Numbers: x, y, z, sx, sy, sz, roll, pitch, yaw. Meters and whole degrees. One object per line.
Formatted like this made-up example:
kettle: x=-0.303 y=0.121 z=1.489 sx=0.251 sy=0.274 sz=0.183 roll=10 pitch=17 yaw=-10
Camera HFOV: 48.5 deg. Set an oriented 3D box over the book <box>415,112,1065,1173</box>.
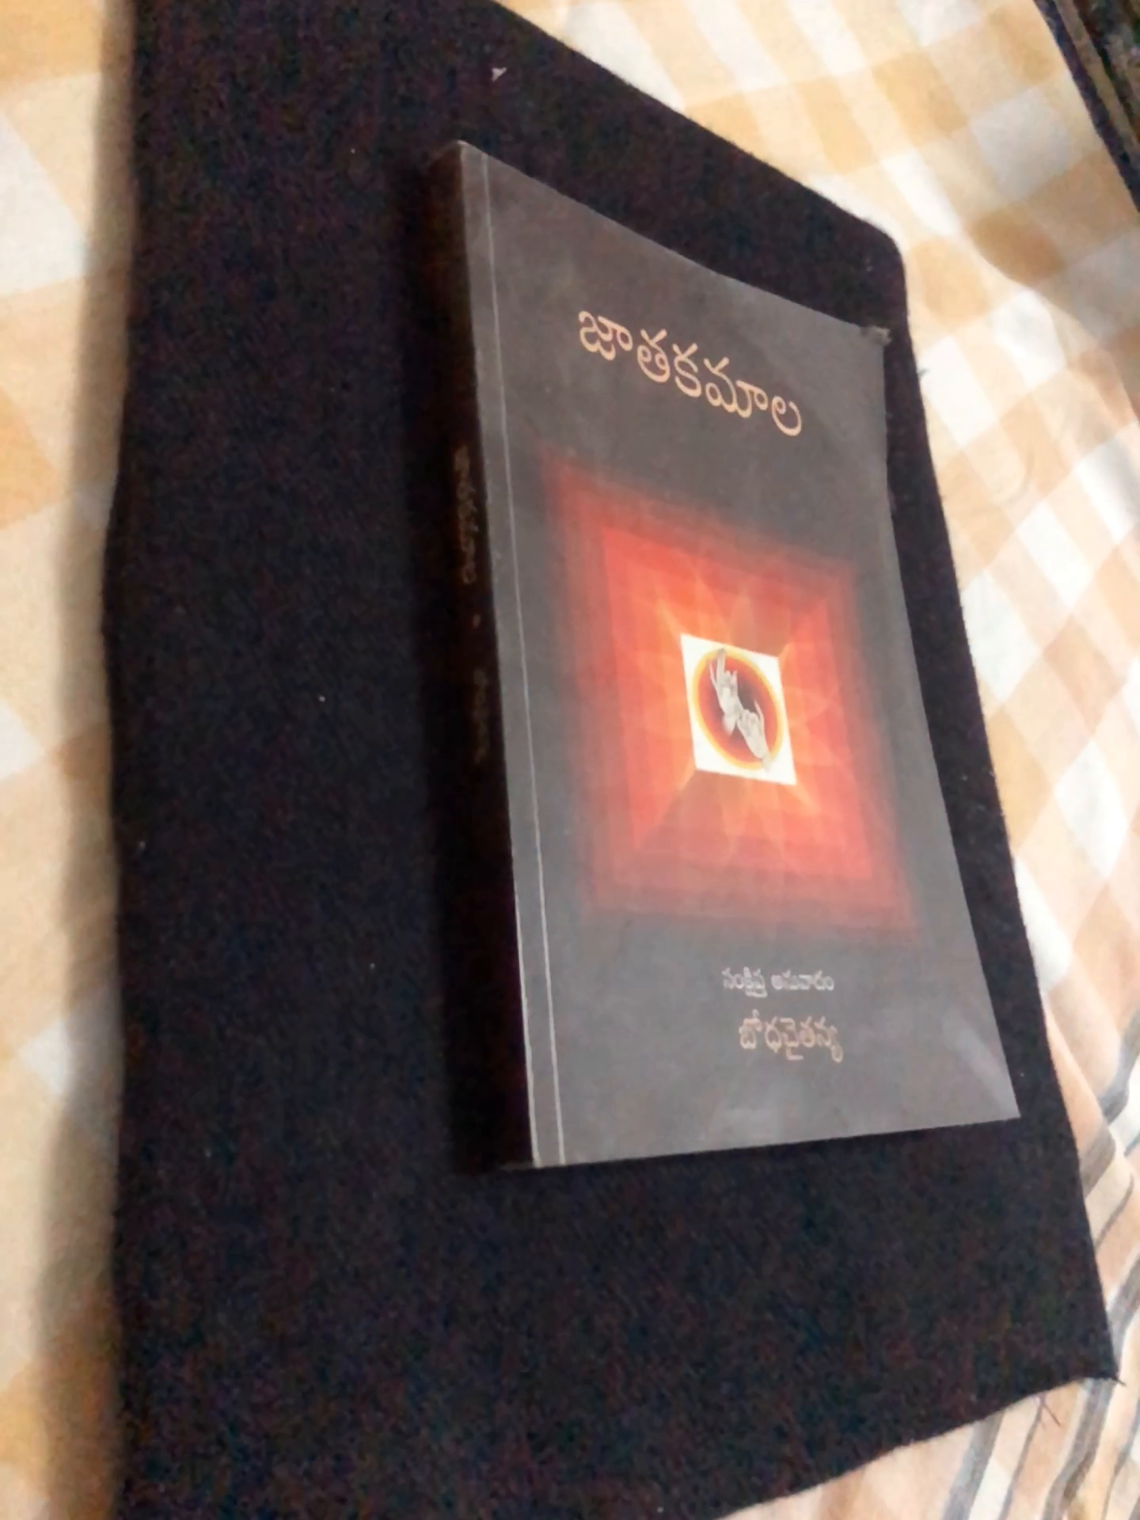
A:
book: x=0.038 y=-0.025 z=0.280 sx=0.141 sy=0.020 sz=0.210 roll=6 pitch=71 yaw=-33
